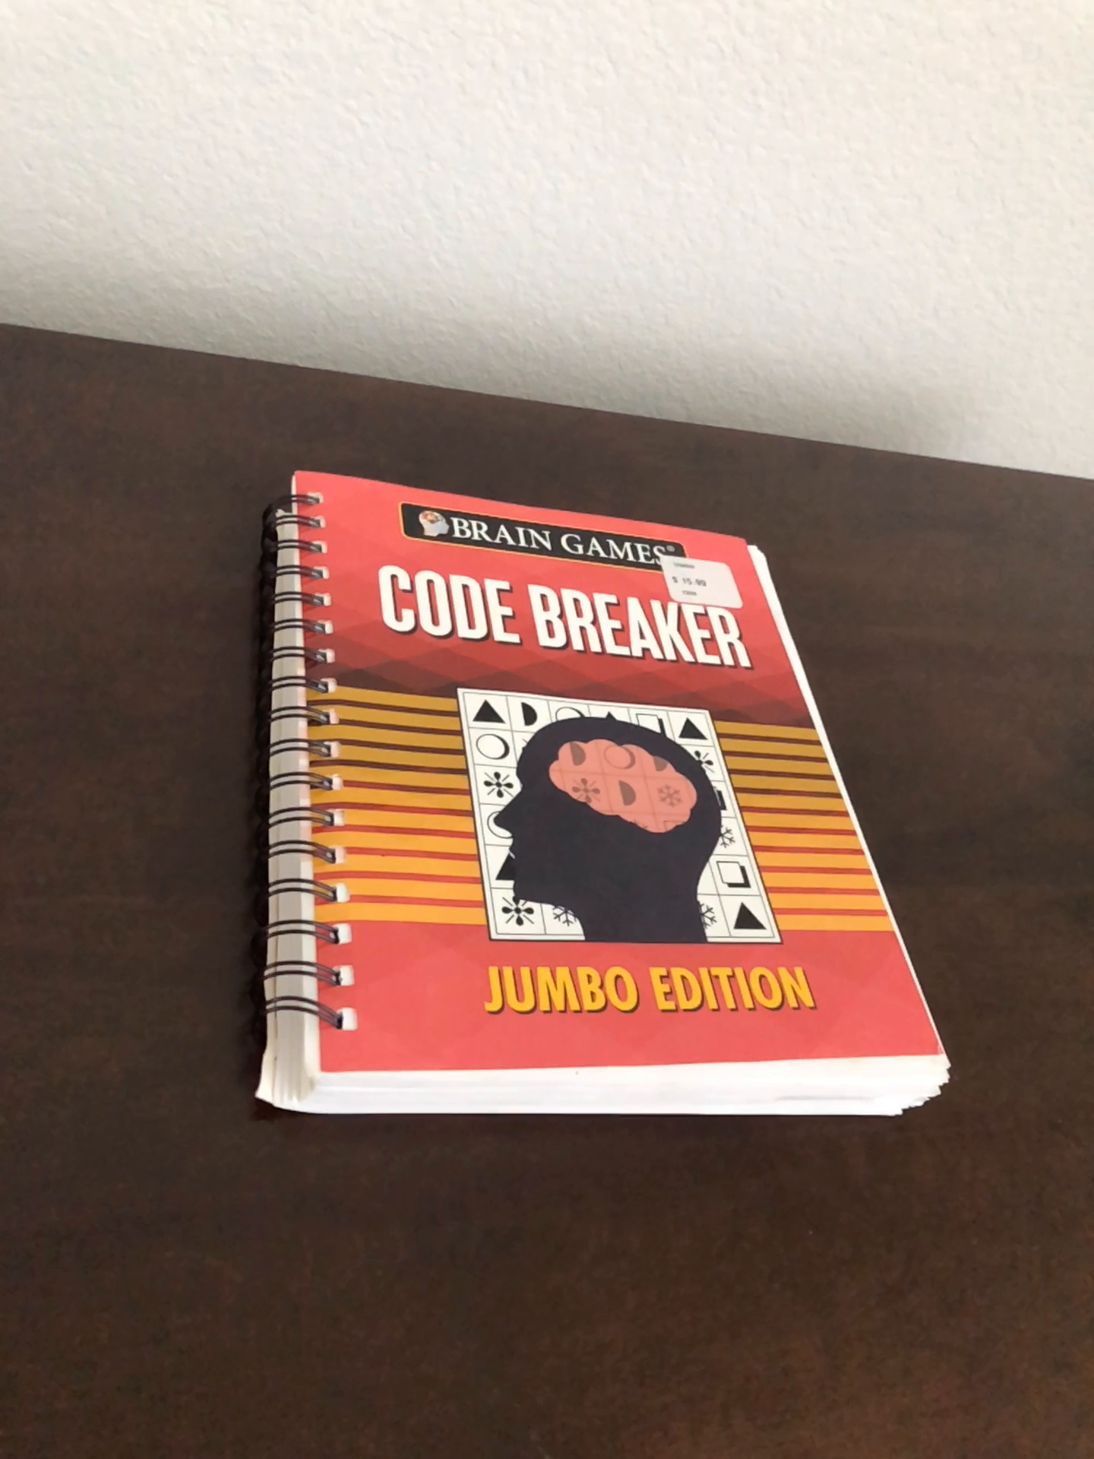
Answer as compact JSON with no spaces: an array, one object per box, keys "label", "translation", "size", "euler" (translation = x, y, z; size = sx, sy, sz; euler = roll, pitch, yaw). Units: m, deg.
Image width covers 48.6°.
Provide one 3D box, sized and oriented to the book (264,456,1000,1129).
[{"label":"book","translation":[0.014,0.011,0.393],"size":[0.203,0.030,0.224],"euler":[5,50,-19]}]
